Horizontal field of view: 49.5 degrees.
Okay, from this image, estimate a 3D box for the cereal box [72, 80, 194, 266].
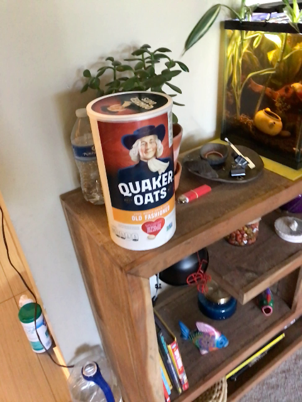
[{"bbox_3d":[-0.025,-0.049,0.550,0.140,0.248,0.141,-16,36,-16],"label":"cereal box"}]
